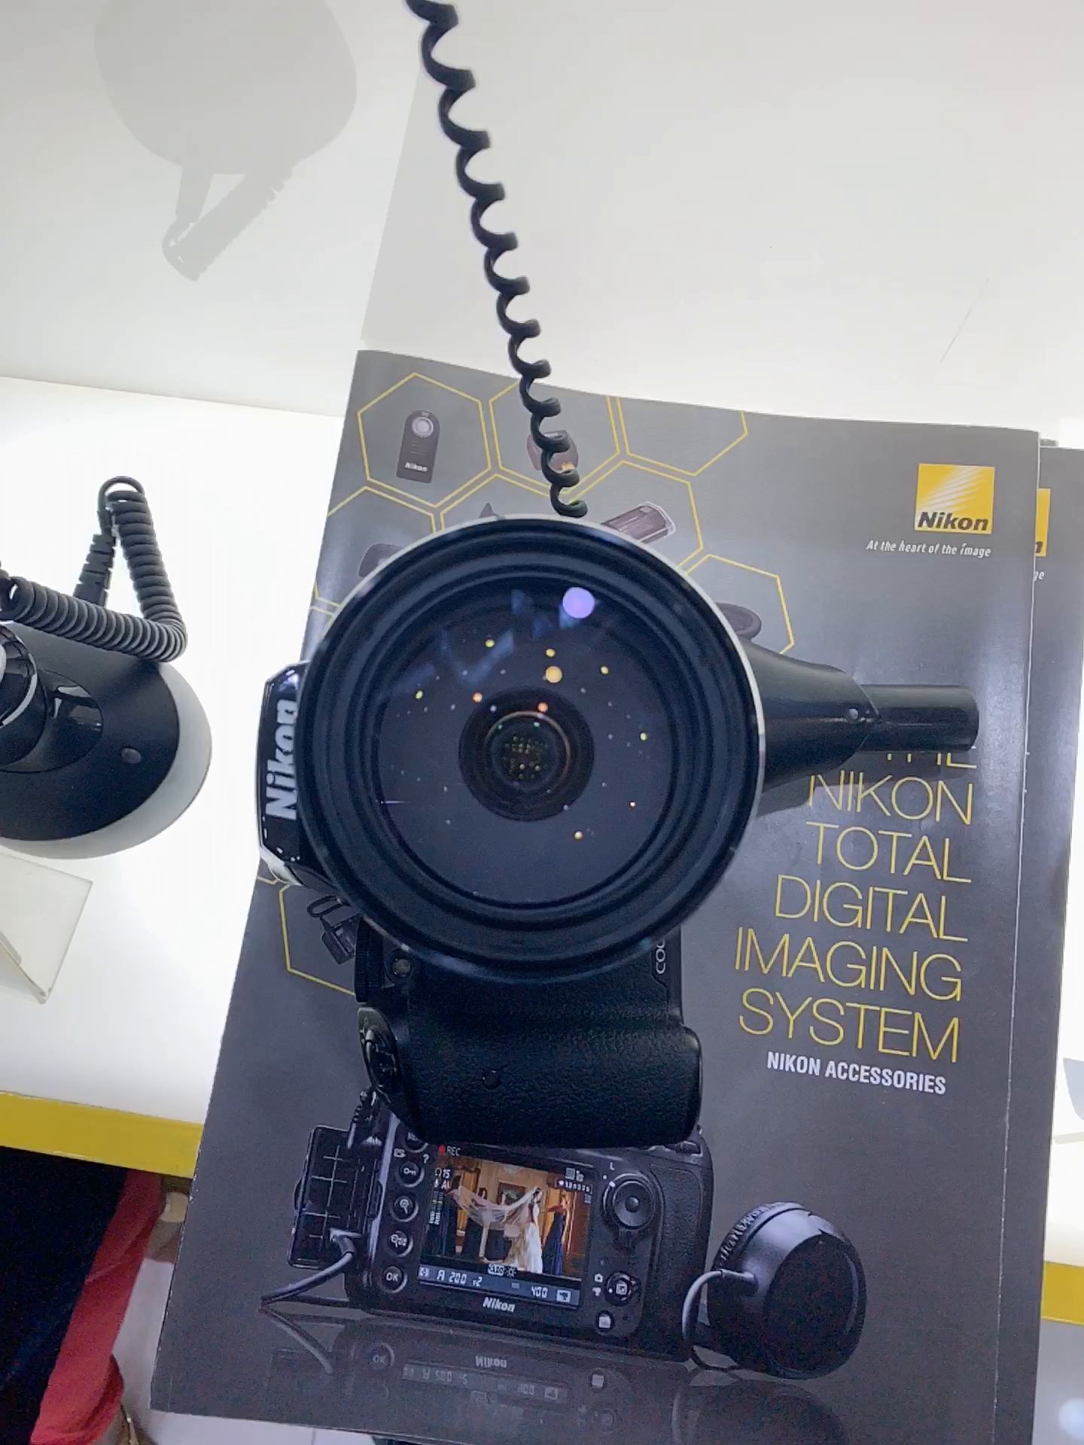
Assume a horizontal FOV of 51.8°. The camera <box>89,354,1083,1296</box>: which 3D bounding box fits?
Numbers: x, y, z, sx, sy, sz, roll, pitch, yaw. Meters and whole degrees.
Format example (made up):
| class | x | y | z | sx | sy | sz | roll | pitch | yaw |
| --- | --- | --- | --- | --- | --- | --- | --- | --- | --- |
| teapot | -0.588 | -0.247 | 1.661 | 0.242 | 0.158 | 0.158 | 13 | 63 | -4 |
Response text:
| class | x | y | z | sx | sy | sz | roll | pitch | yaw |
| --- | --- | --- | --- | --- | --- | --- | --- | --- | --- |
| camera | 0.033 | 0.023 | 0.225 | 0.200 | 0.100 | 0.140 | 2 | 76 | -7 |
